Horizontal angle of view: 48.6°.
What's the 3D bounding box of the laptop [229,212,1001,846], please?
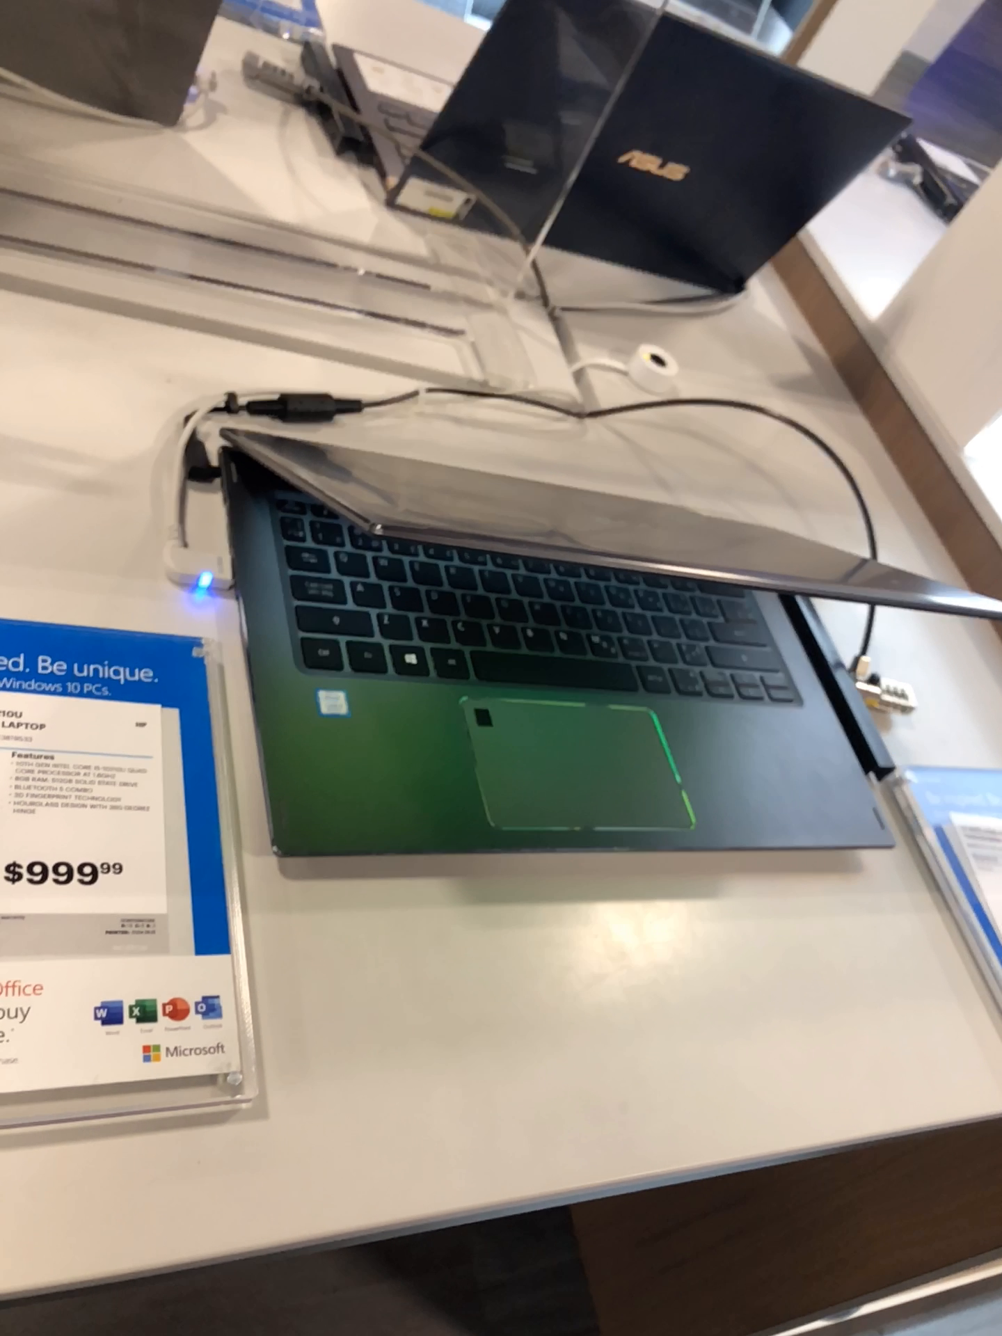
[{"bbox_3d":[0.055,-0.048,0.488,0.301,0.123,0.212,5,51,-29],"label":"laptop"}]
